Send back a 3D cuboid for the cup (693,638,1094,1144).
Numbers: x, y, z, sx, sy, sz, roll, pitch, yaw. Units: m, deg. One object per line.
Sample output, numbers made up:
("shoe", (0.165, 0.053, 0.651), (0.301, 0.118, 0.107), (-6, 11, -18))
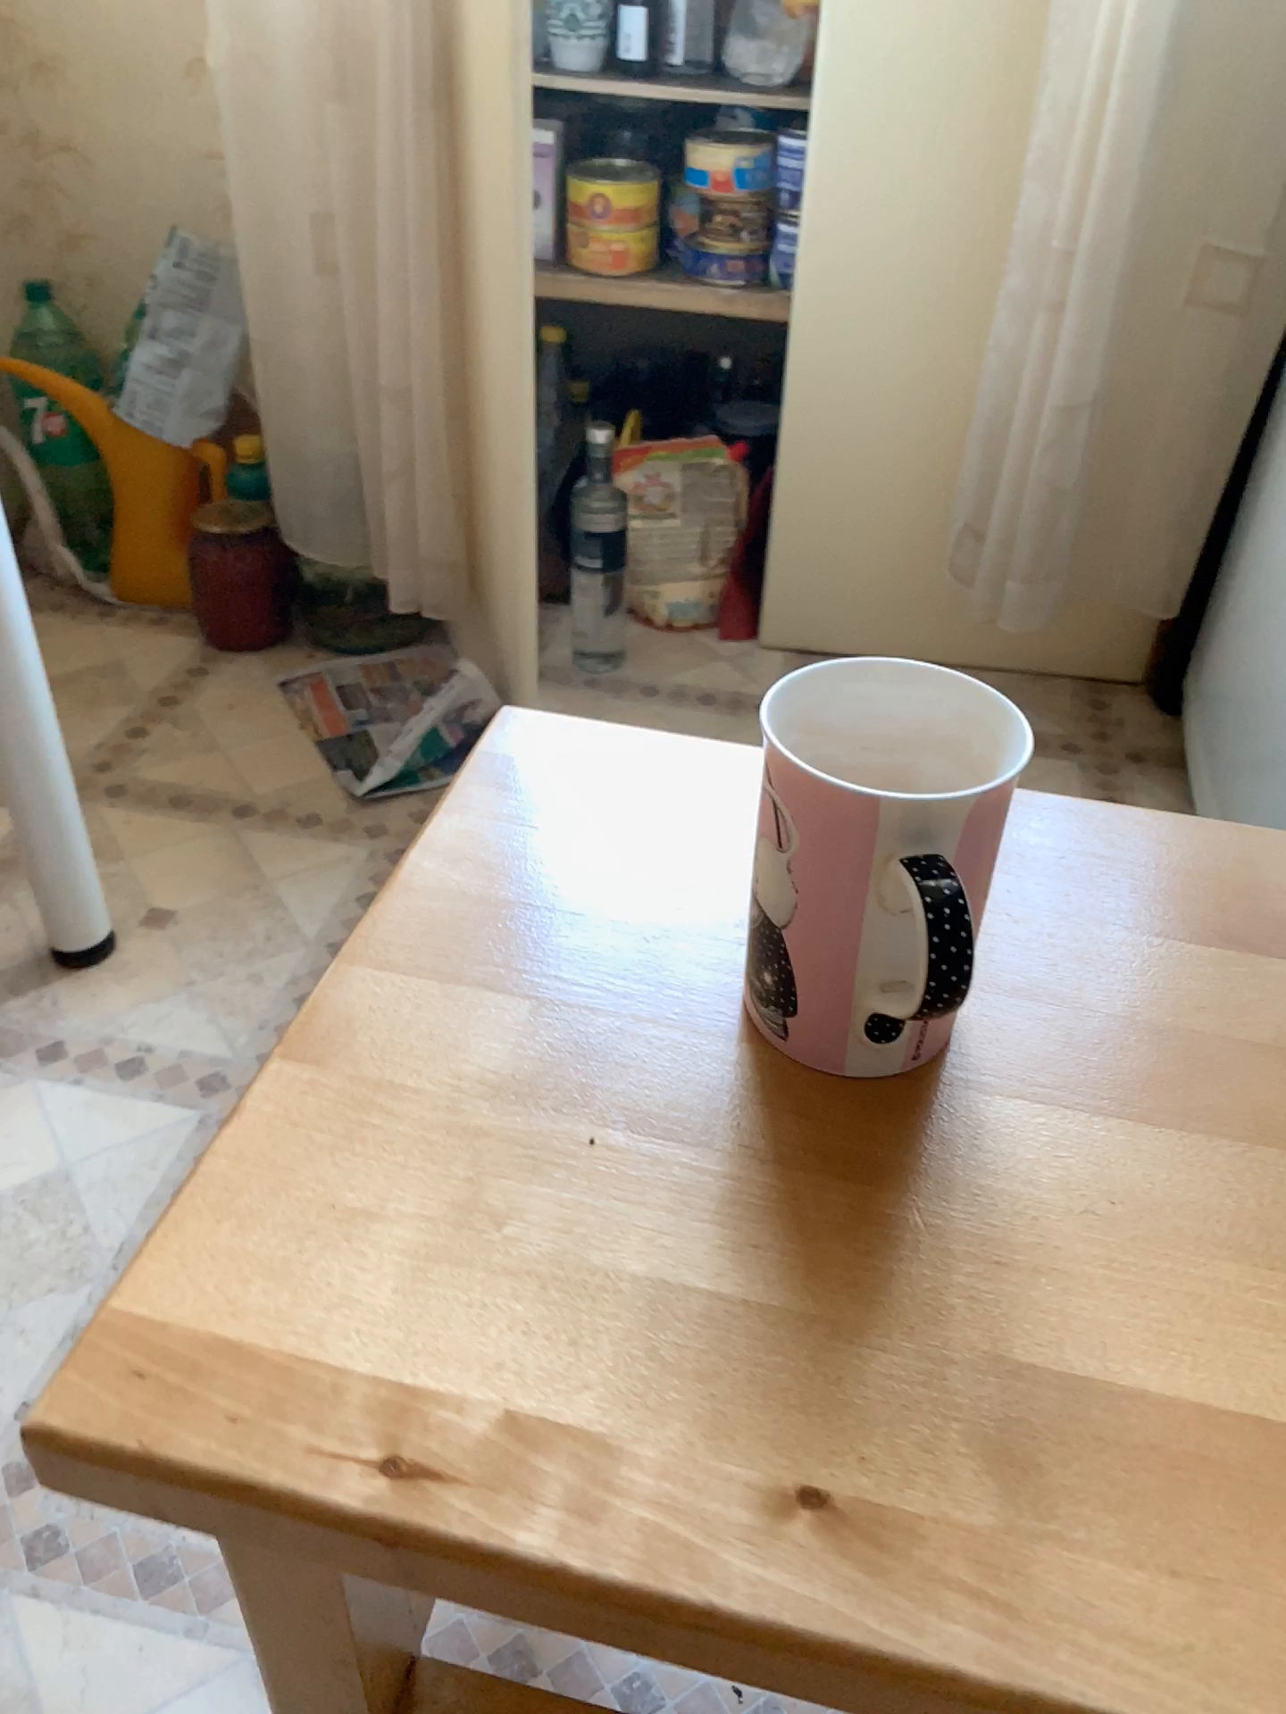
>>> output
("cup", (0.062, 0.007, 0.387), (0.080, 0.099, 0.111), (0, 36, -4))
